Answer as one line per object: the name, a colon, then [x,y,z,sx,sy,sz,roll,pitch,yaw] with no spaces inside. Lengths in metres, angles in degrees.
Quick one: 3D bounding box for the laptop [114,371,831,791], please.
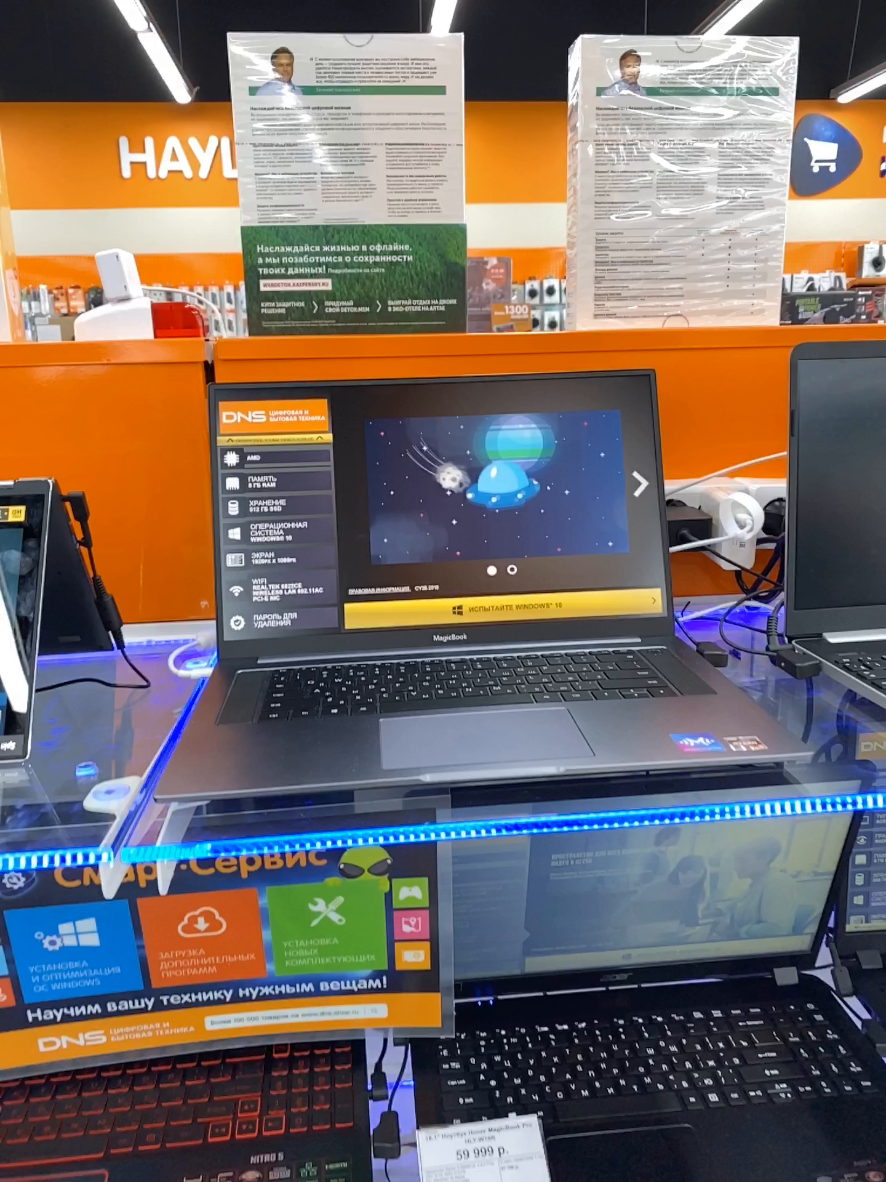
laptop: [0.010,-0.040,0.635,0.368,0.207,0.315,-2,14,-4]
